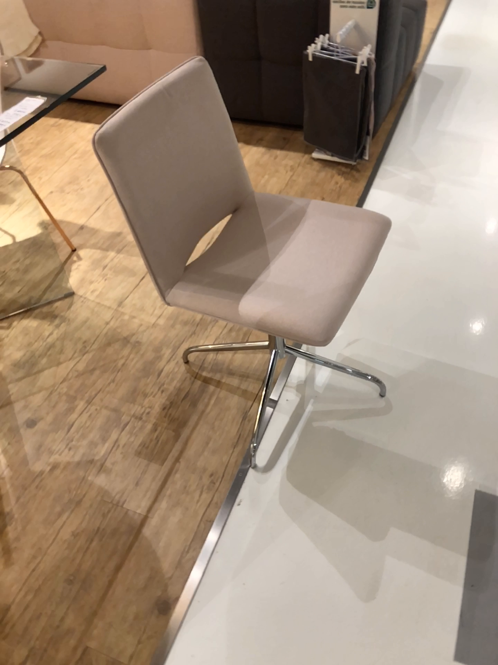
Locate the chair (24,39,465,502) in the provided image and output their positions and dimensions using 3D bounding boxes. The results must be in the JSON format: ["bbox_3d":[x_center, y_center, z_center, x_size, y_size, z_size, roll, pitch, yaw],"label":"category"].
[{"bbox_3d":[0.058,-0.168,1.310,0.631,0.745,0.654,15,49,20],"label":"chair"}]
